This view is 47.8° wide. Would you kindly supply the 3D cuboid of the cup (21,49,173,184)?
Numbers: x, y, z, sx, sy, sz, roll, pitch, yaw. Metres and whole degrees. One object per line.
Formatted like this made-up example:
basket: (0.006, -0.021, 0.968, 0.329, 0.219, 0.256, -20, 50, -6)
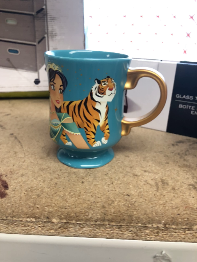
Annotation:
cup: (0.004, -0.028, 0.265, 0.140, 0.120, 0.099, 7, 24, 13)
